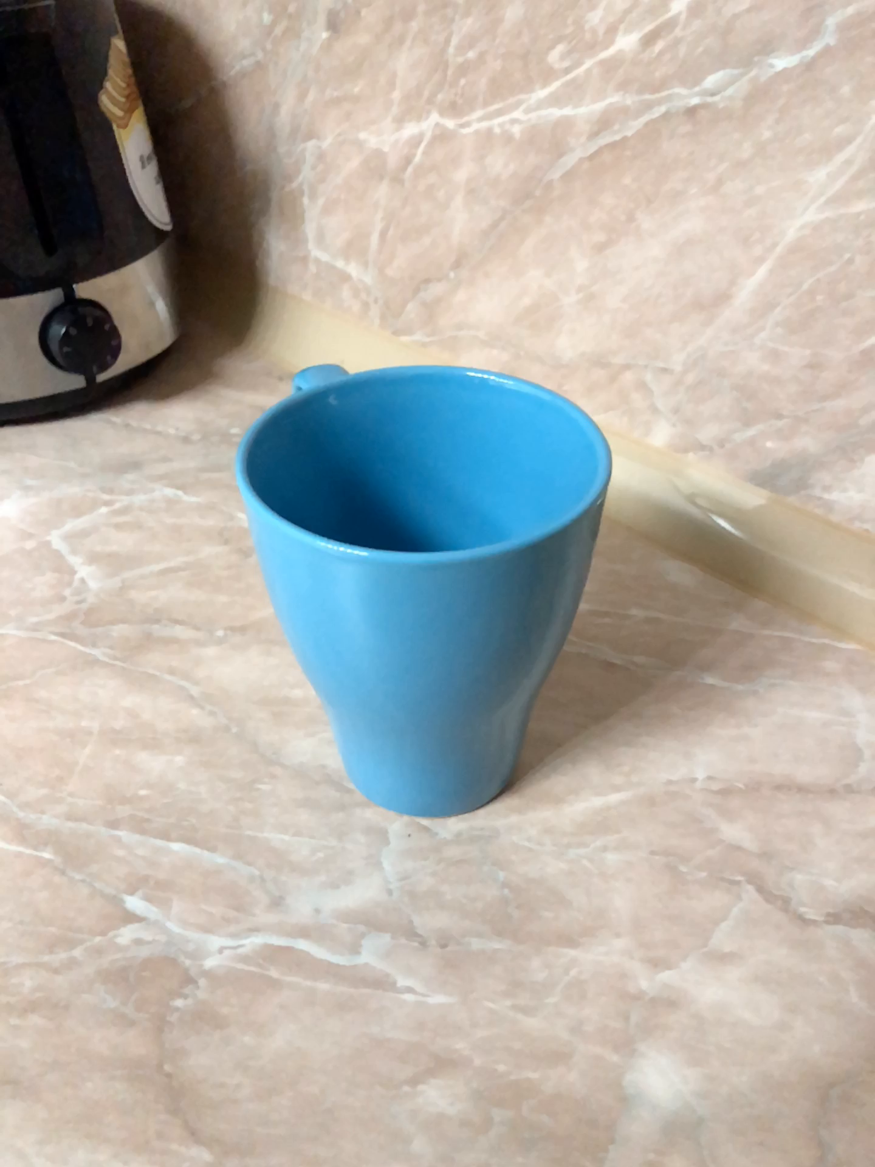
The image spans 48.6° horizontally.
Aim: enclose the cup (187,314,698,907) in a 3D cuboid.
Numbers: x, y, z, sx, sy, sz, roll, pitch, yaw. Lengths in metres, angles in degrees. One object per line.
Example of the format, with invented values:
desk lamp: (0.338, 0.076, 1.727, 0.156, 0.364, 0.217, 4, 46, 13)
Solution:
cup: (-0.006, -0.001, 0.254, 0.086, 0.089, 0.111, -14, 40, -16)
